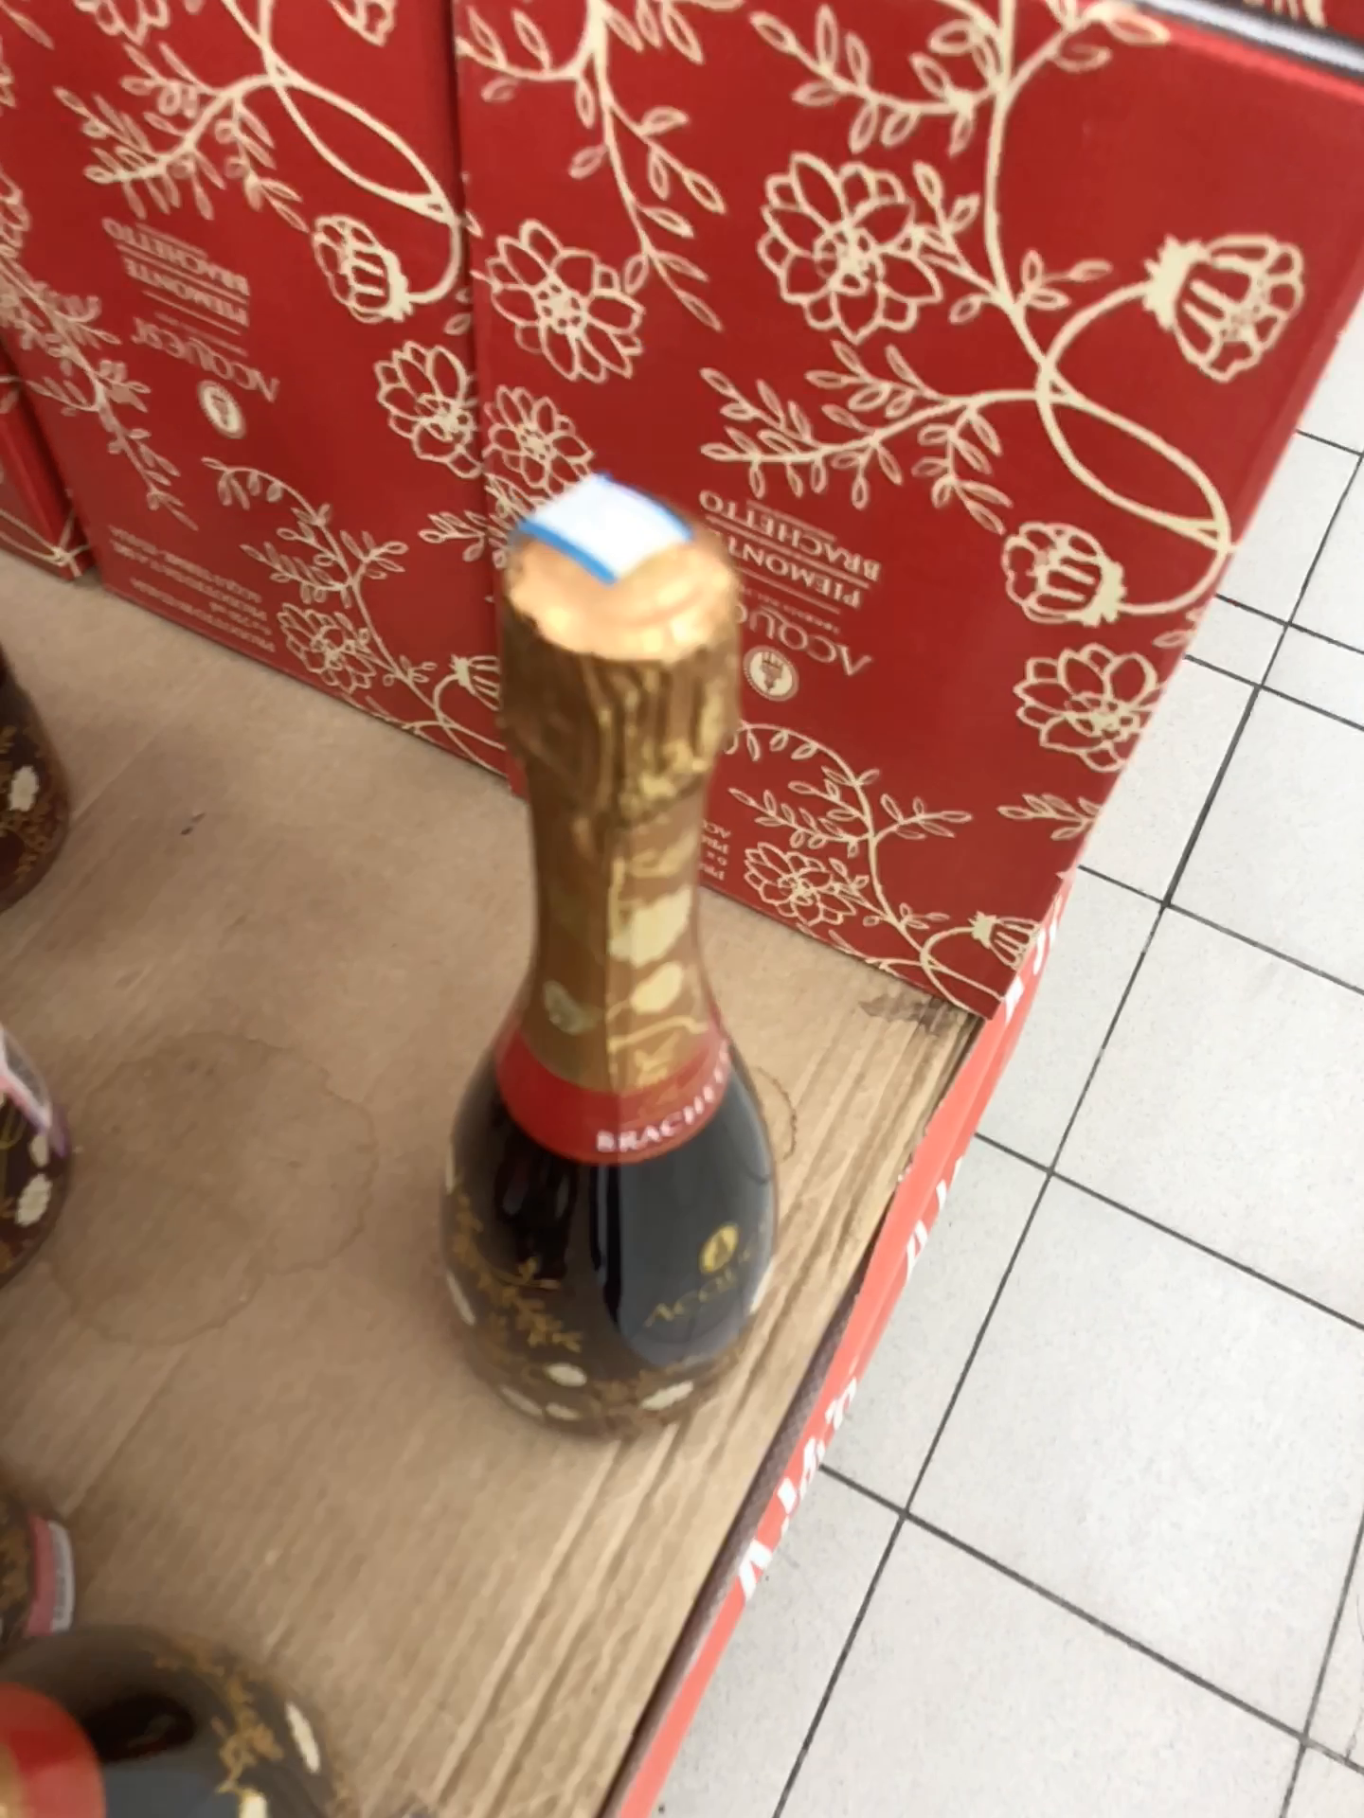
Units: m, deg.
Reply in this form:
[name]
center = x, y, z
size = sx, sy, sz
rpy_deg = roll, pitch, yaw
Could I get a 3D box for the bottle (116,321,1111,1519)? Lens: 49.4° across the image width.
[bottle]
center = -0.016, 0.035, 0.329
size = 0.100, 0.279, 0.100
rpy_deg = 1, 58, -2
